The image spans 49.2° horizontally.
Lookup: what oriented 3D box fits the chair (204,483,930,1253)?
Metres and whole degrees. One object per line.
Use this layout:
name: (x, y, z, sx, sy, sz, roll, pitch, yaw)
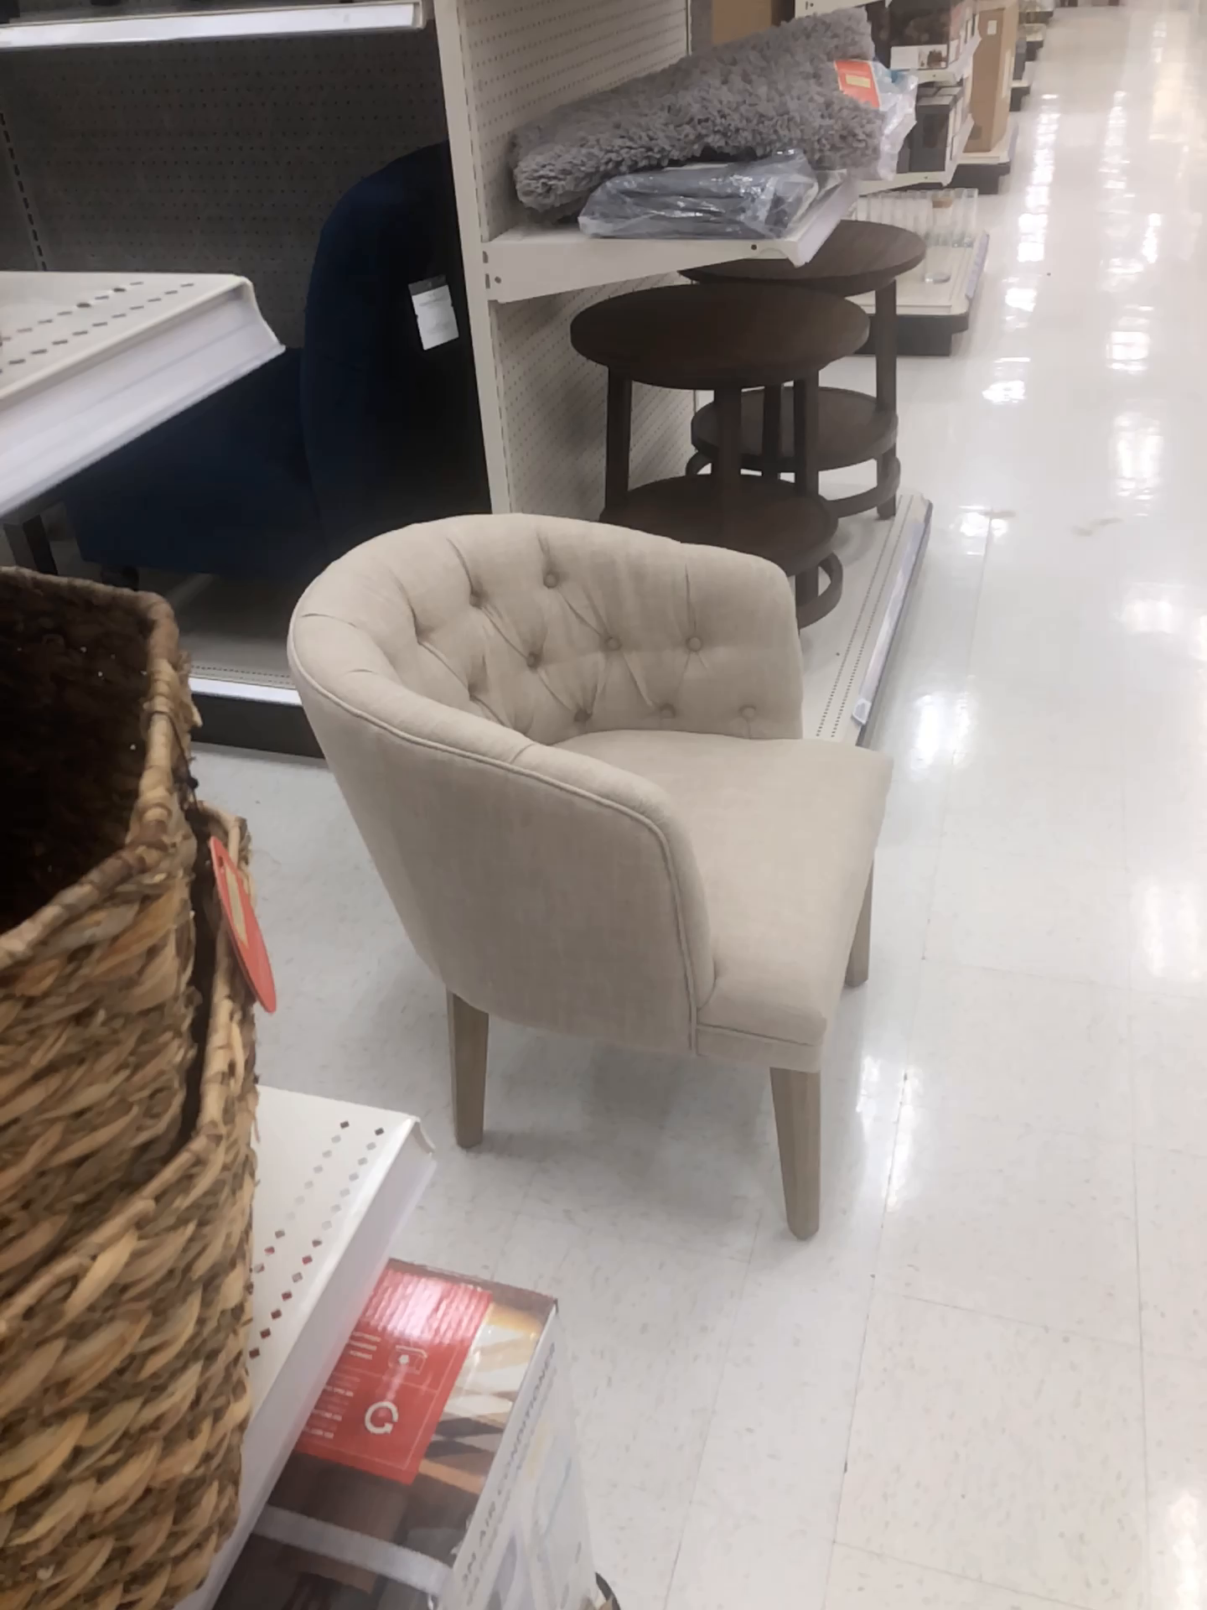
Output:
chair: (0.018, 0.049, 1.666, 0.682, 0.700, 0.563, 6, 36, 14)
